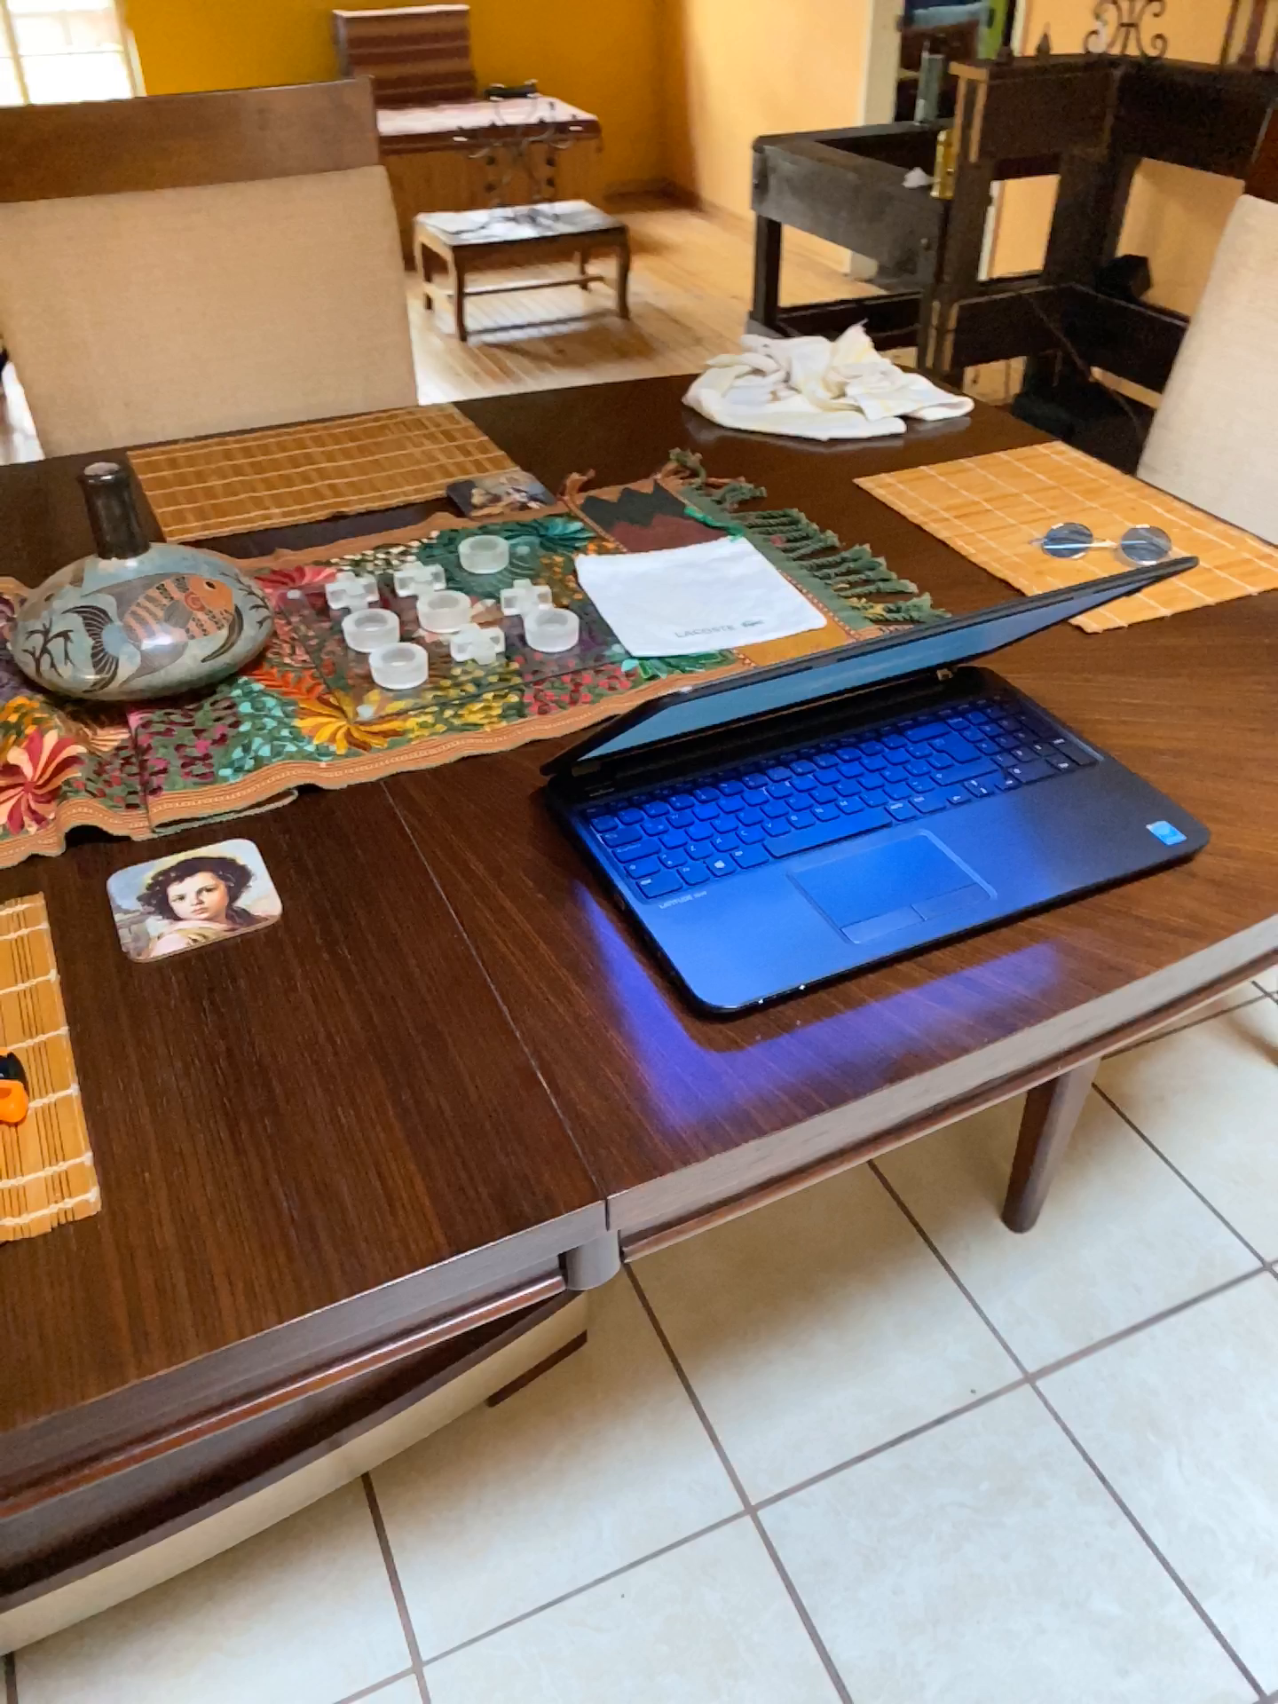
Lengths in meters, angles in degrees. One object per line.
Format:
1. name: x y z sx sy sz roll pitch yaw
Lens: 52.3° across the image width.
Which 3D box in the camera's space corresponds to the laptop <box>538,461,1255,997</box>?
1. laptop: 0.147 -0.100 0.830 0.356 0.158 0.249 -17 40 -20
